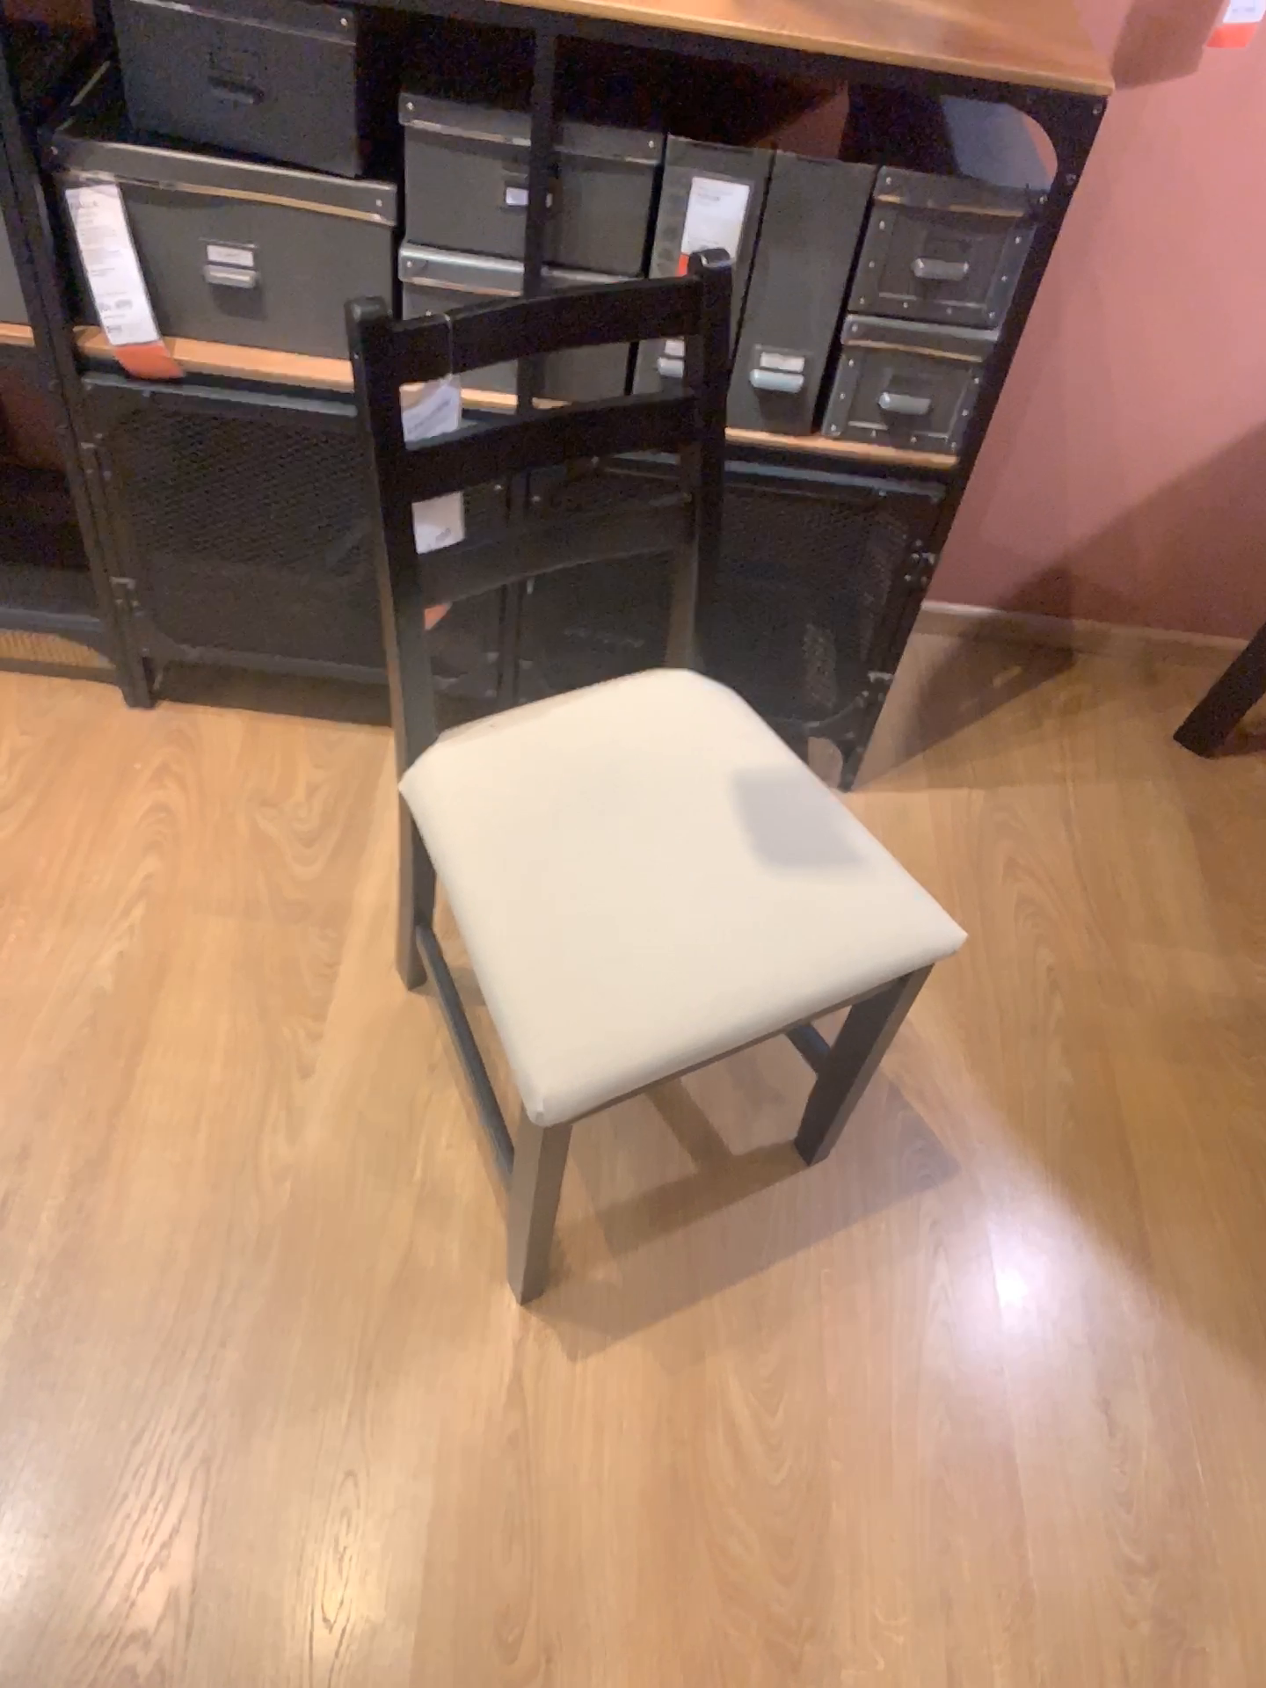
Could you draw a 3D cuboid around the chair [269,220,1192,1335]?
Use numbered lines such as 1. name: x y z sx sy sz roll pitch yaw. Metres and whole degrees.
1. chair: -0.001 -0.013 1.106 0.400 0.768 0.471 -18 56 -22
